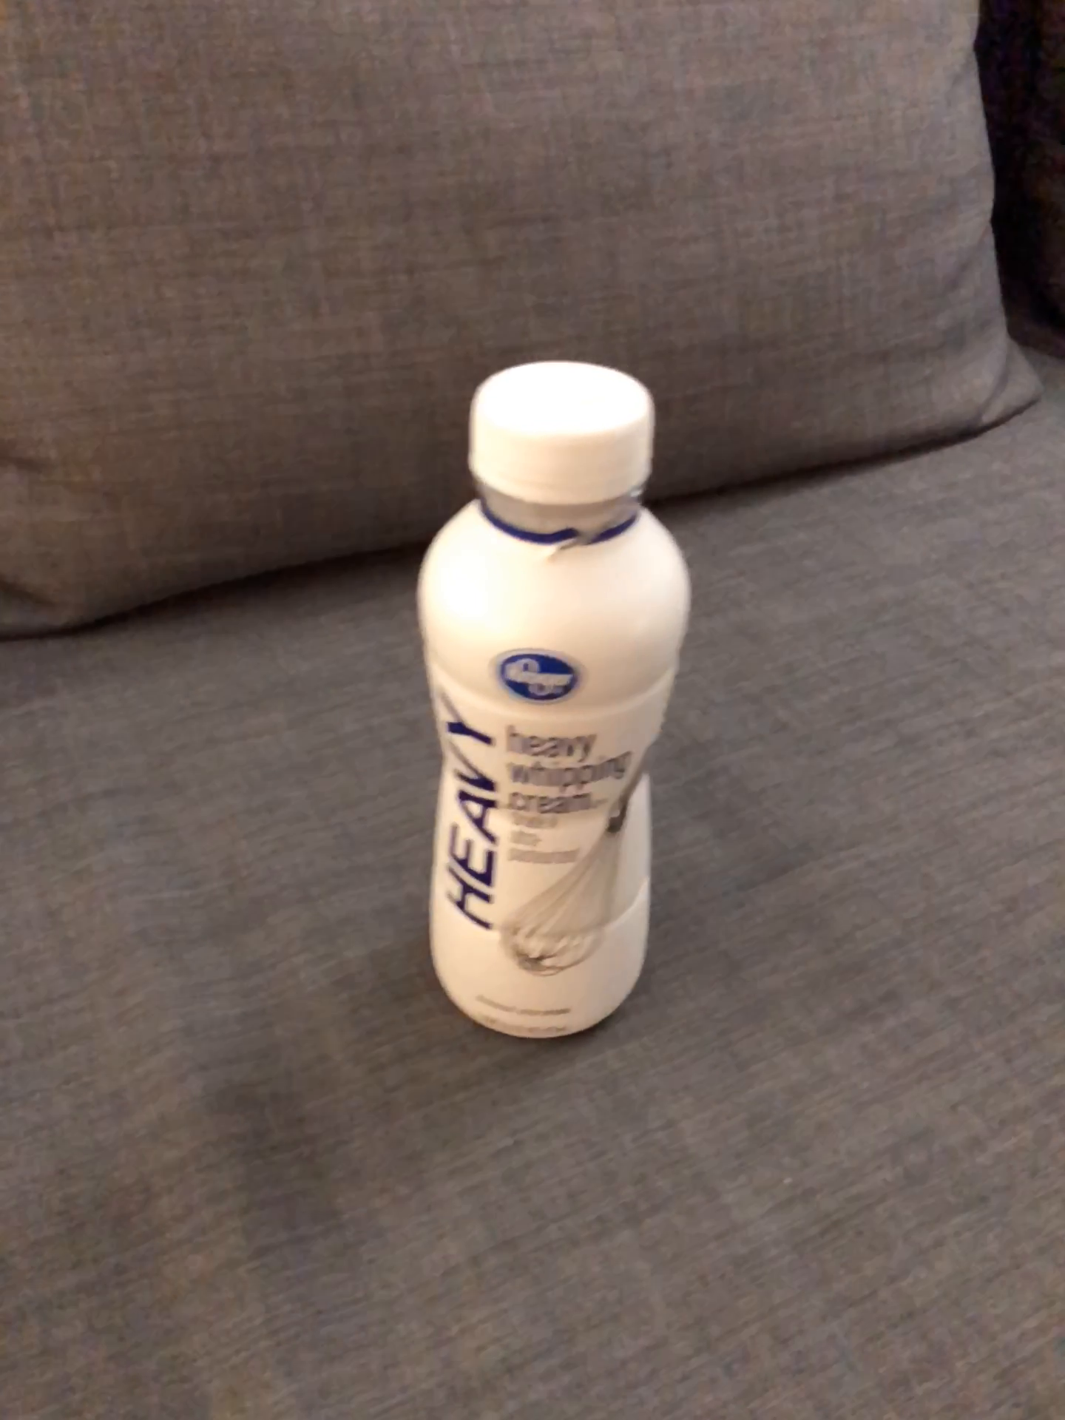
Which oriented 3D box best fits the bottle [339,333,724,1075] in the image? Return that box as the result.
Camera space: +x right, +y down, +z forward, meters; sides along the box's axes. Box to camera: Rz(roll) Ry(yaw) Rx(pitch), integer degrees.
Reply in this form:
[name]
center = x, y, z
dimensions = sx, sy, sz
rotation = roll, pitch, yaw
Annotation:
[bottle]
center = 0.004, 0.006, 0.322
dimensions = 0.070, 0.189, 0.070
rotation = 0, 38, 0
